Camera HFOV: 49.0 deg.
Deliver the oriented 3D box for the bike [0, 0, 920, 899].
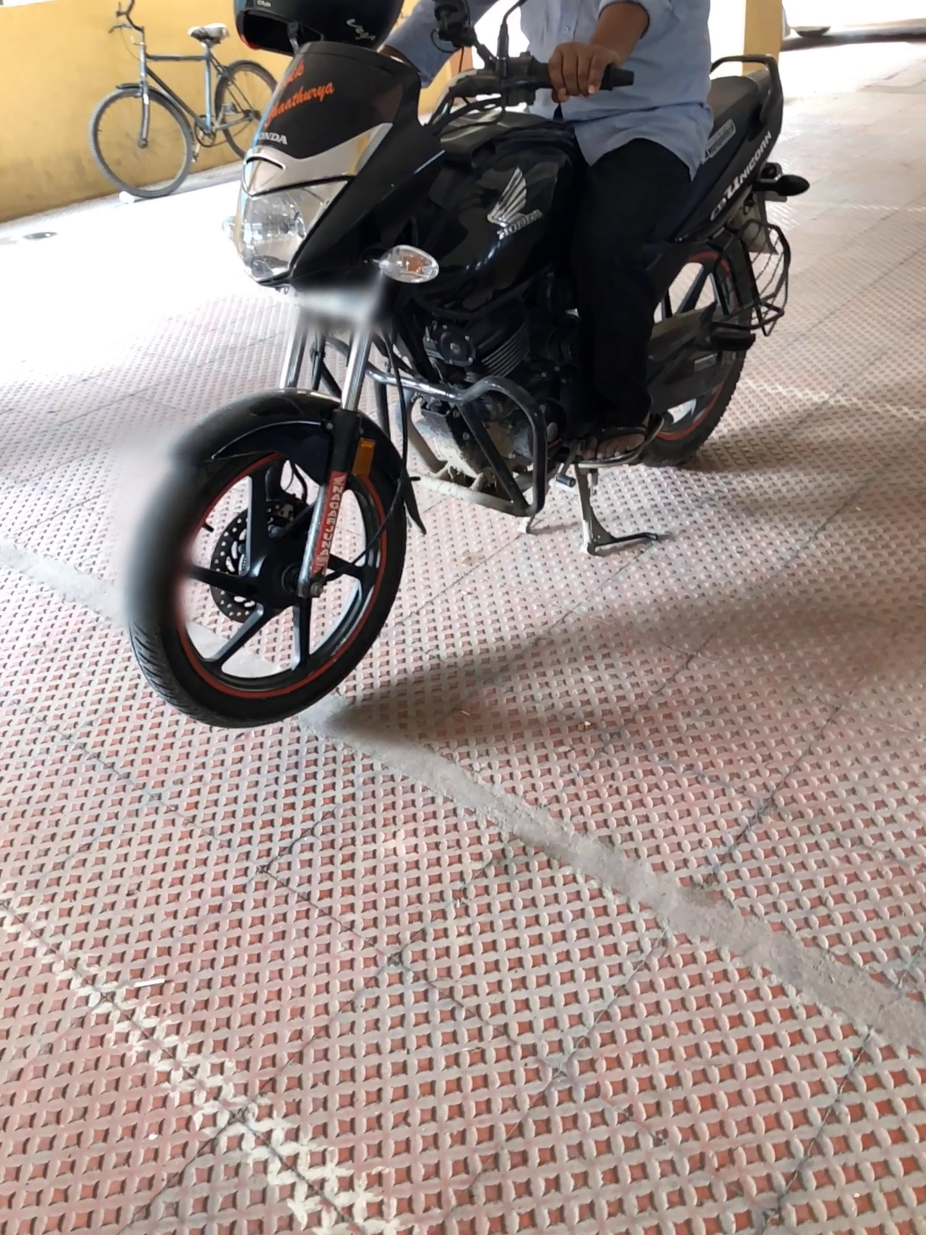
[{"bbox_3d":[0.082,-0.549,2.116,0.786,1.009,1.893,23,45,37],"label":"bike"}]
